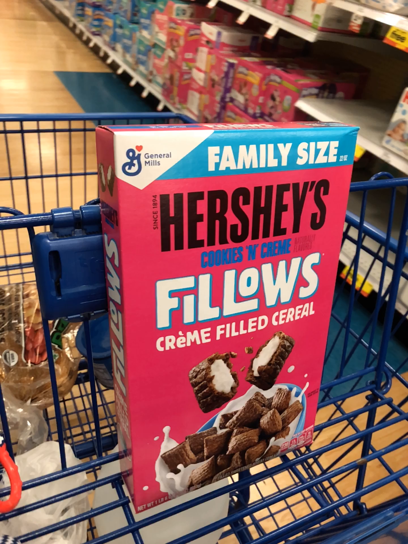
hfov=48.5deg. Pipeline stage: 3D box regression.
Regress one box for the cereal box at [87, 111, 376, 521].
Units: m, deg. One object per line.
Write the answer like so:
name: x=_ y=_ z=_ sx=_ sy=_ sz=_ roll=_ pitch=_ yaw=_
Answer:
cereal box: x=0.023 y=0.029 z=0.370 sx=0.200 sy=0.299 sz=0.060 roll=-9 pitch=22 yaw=-26
